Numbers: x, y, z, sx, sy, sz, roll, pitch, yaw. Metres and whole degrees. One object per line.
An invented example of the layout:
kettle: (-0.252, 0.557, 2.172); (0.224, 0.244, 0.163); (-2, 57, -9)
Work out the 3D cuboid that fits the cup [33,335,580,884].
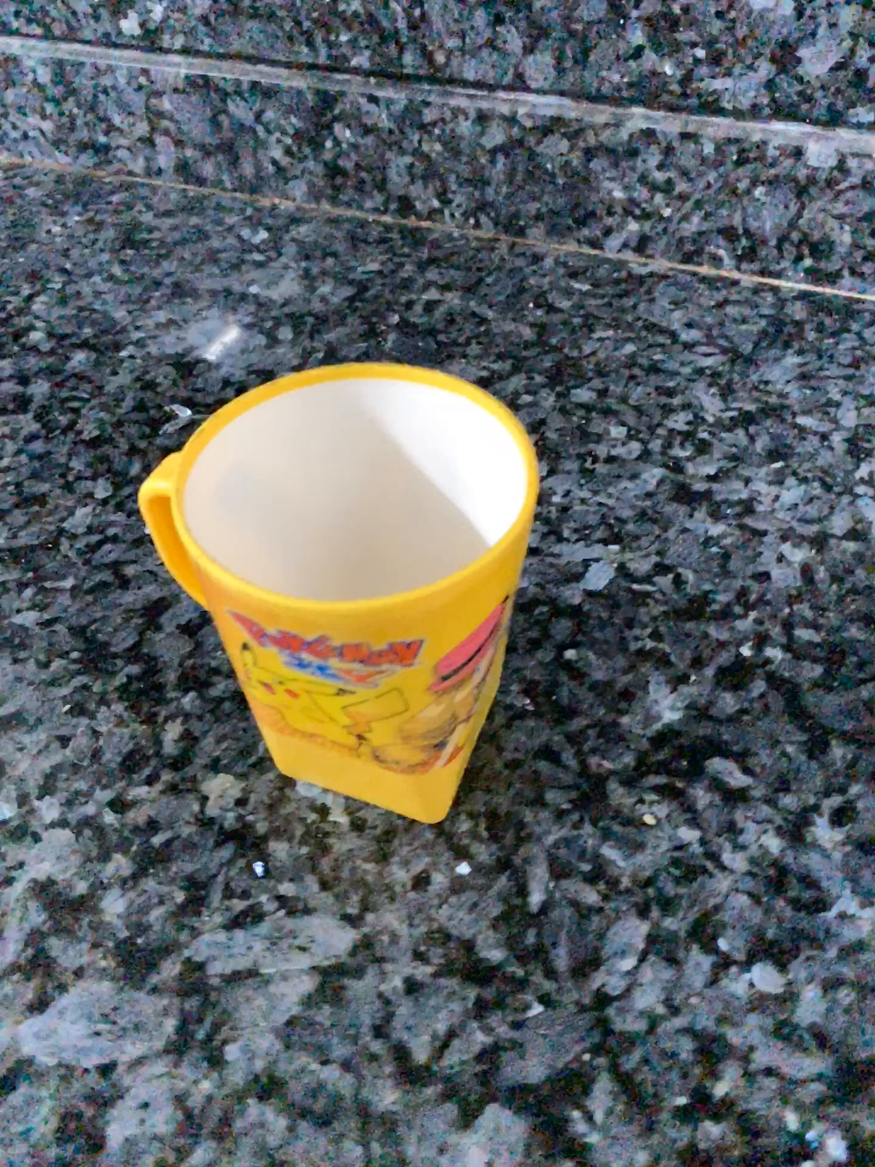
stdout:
cup: (-0.024, 0.009, 0.240); (0.100, 0.109, 0.070); (13, 50, 14)
